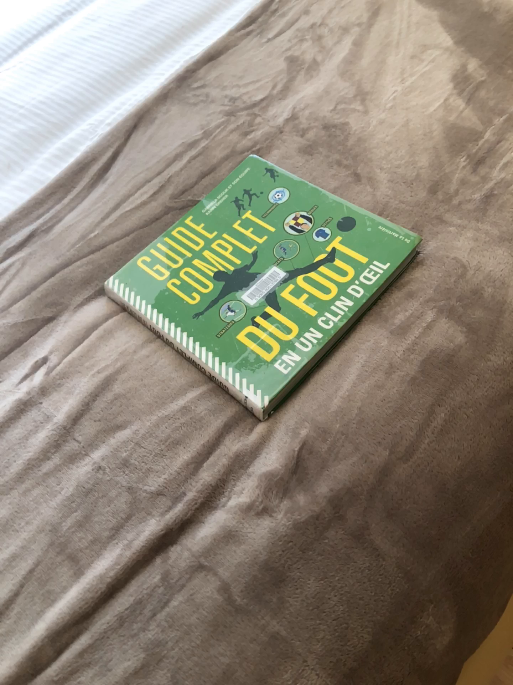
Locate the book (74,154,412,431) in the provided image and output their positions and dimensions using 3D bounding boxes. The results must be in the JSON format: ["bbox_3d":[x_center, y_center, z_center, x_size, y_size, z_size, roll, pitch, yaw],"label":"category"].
[{"bbox_3d":[-0.018,-0.069,0.548,0.238,0.019,0.228,35,69,29],"label":"book"}]
